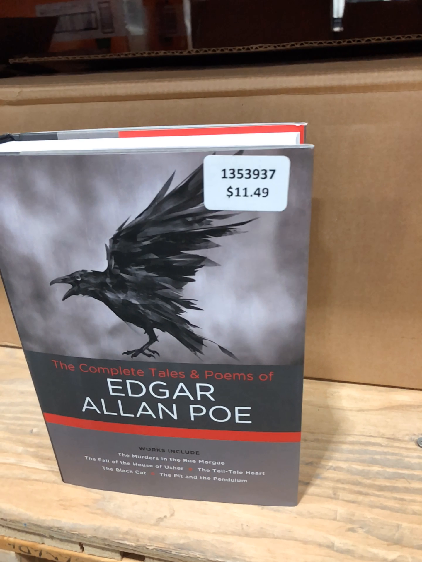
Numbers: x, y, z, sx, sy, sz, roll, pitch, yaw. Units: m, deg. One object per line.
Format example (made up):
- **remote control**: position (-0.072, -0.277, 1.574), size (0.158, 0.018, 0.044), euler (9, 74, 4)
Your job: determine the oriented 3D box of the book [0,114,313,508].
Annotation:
- **book**: position (-0.031, 0.031, 0.290), size (0.171, 0.240, 0.054), euler (1, 30, 9)
